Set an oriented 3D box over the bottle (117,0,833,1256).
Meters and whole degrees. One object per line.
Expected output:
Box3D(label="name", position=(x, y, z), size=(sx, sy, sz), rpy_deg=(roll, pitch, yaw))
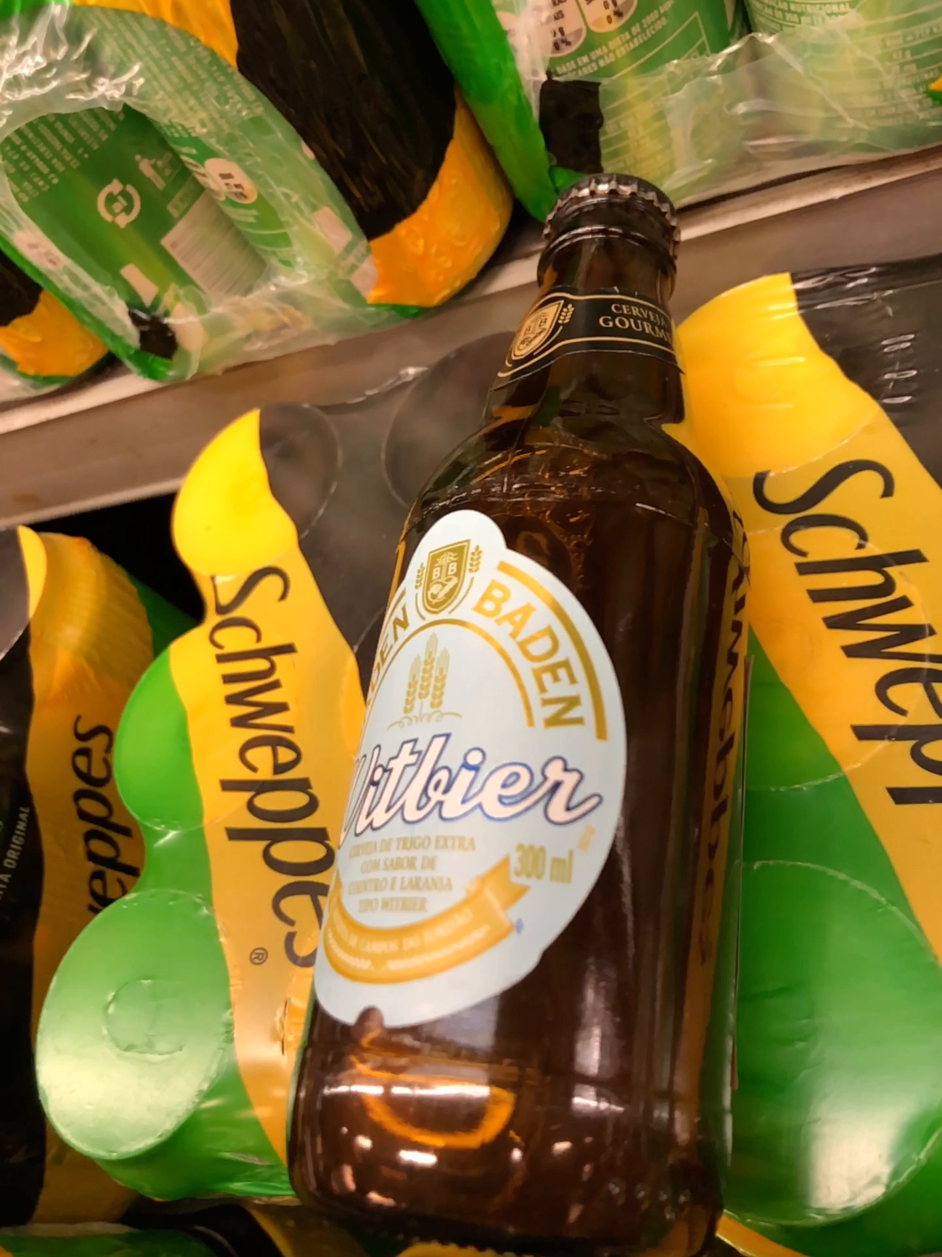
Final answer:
Box3D(label="bottle", position=(0.016, -0.013, 0.169), size=(0.070, 0.060, 0.200), rpy_deg=(-4, 65, 28))
